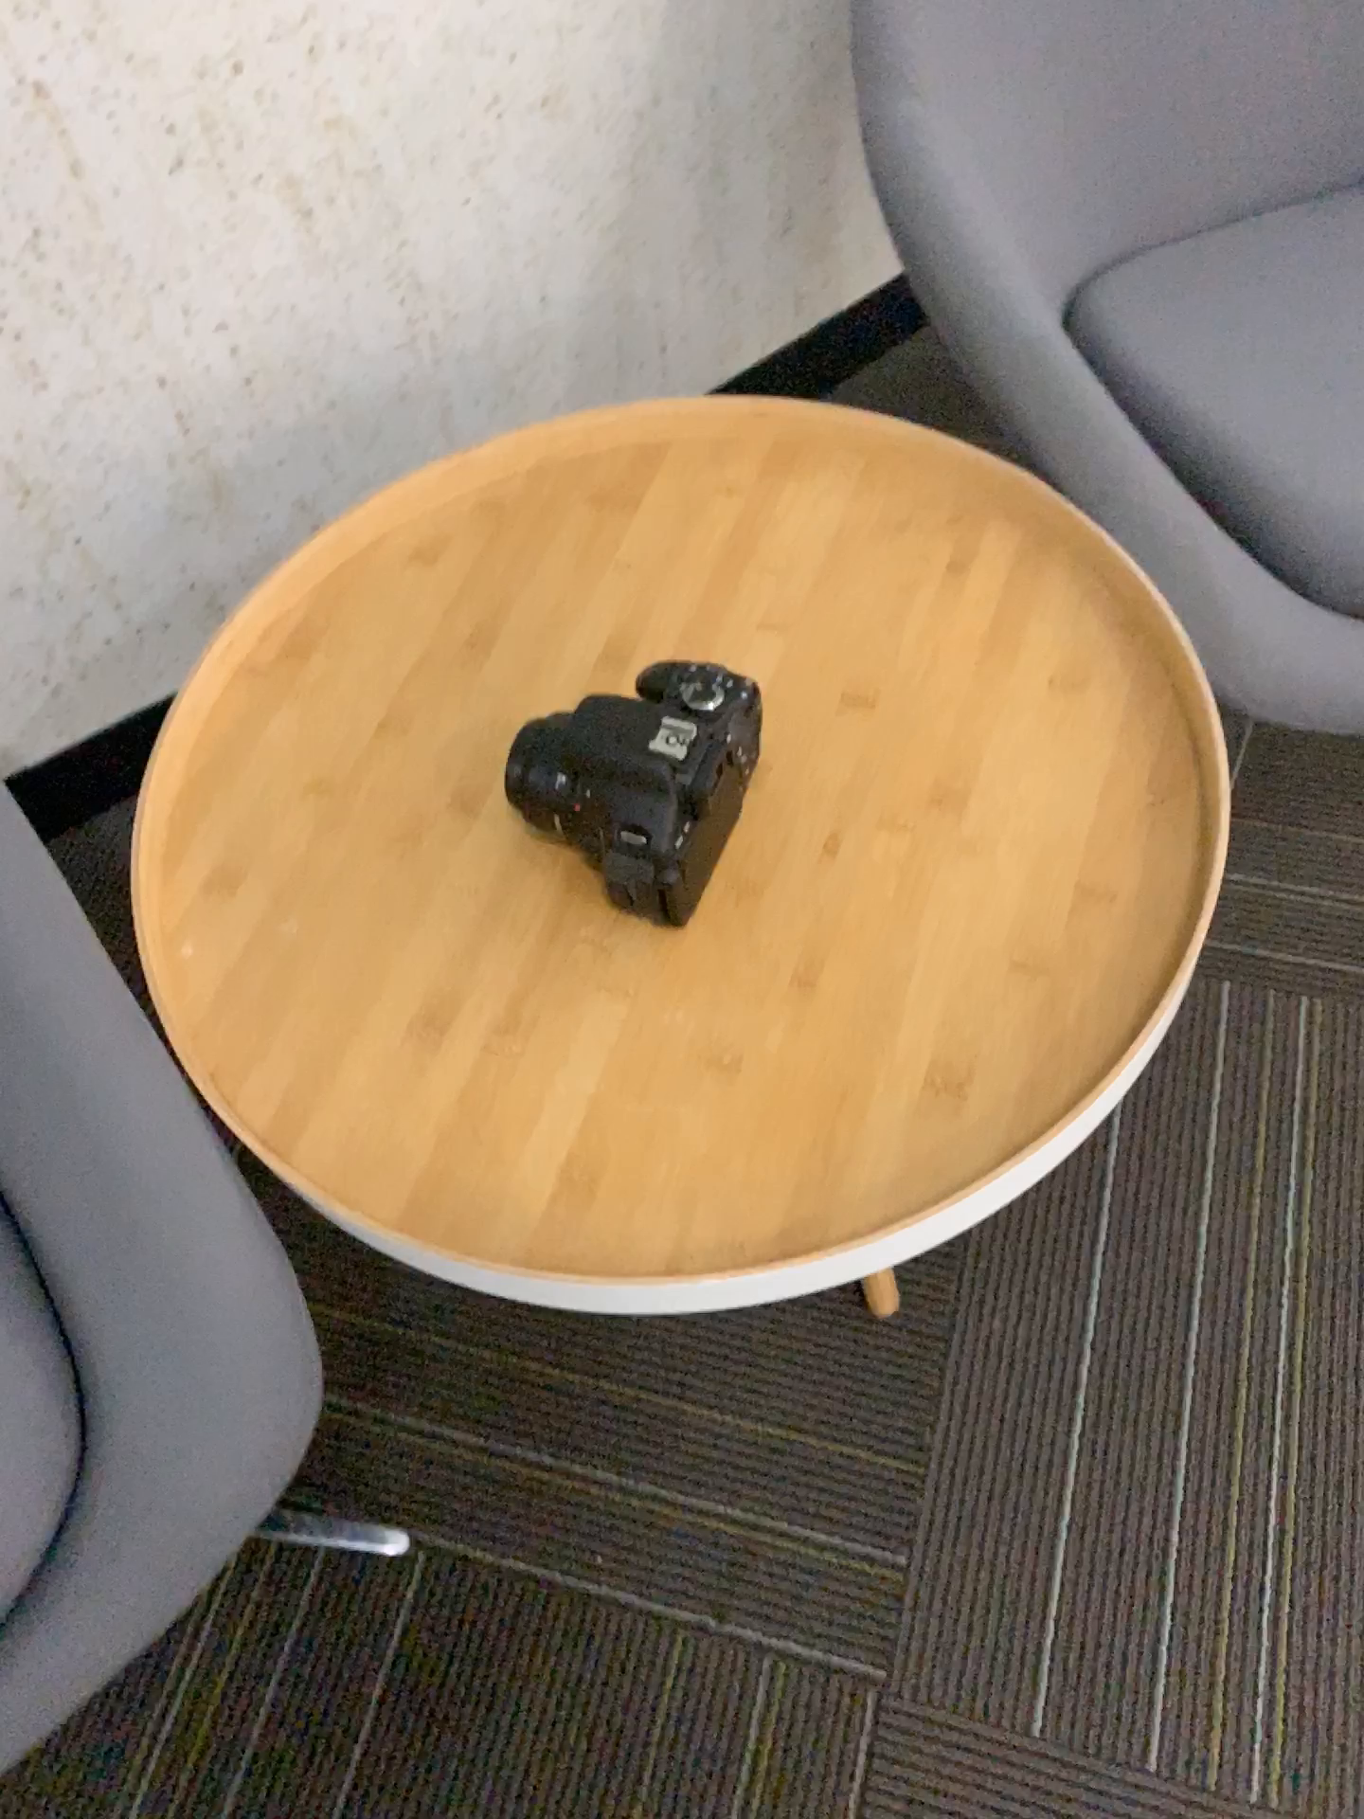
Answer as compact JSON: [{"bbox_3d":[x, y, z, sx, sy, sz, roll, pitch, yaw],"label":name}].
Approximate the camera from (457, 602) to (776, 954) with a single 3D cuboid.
[{"bbox_3d":[-0.030,-0.073,0.777,0.120,0.100,0.134,18,62,16],"label":"camera"}]
